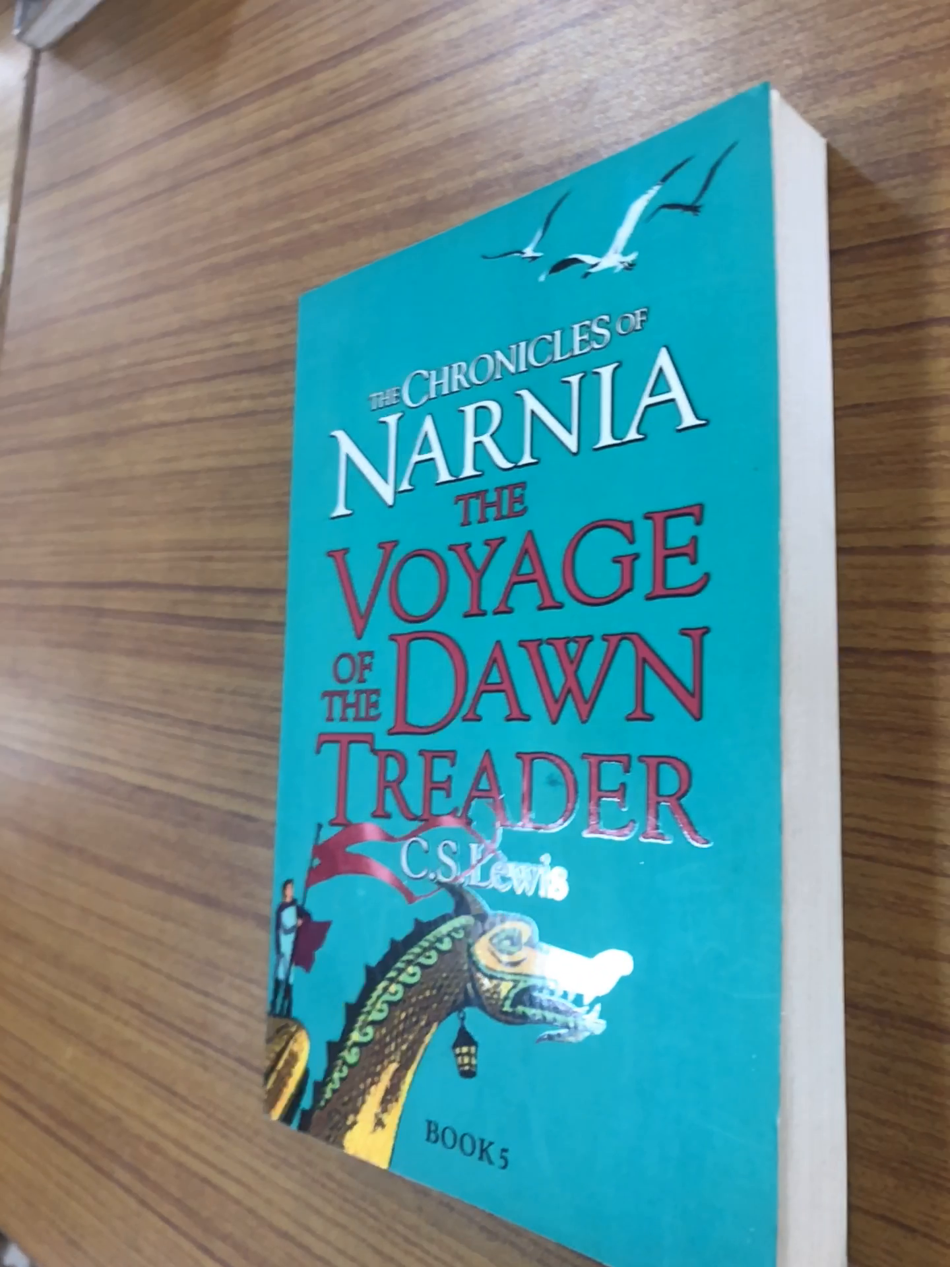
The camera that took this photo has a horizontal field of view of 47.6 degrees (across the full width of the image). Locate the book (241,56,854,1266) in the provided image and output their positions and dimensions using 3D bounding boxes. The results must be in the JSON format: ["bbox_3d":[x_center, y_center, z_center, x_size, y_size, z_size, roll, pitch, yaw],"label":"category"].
[{"bbox_3d":[0.007,0.008,0.224,0.131,0.030,0.200,-5,81,42],"label":"book"}]
